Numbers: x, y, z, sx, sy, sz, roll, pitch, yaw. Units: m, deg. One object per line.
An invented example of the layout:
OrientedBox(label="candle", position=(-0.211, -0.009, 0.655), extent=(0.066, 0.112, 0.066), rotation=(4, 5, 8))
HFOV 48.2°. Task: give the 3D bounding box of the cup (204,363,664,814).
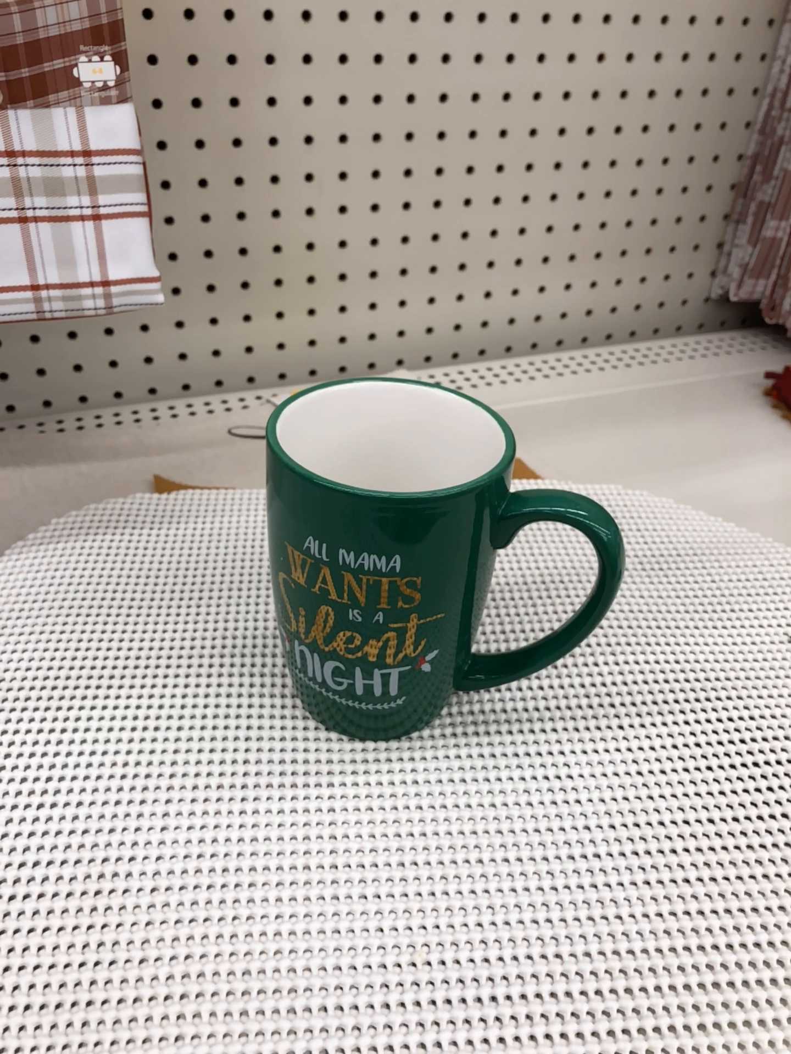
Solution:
OrientedBox(label="cup", position=(0.018, 0.017, 0.339), extent=(0.140, 0.110, 0.100), rotation=(11, 34, 13))
